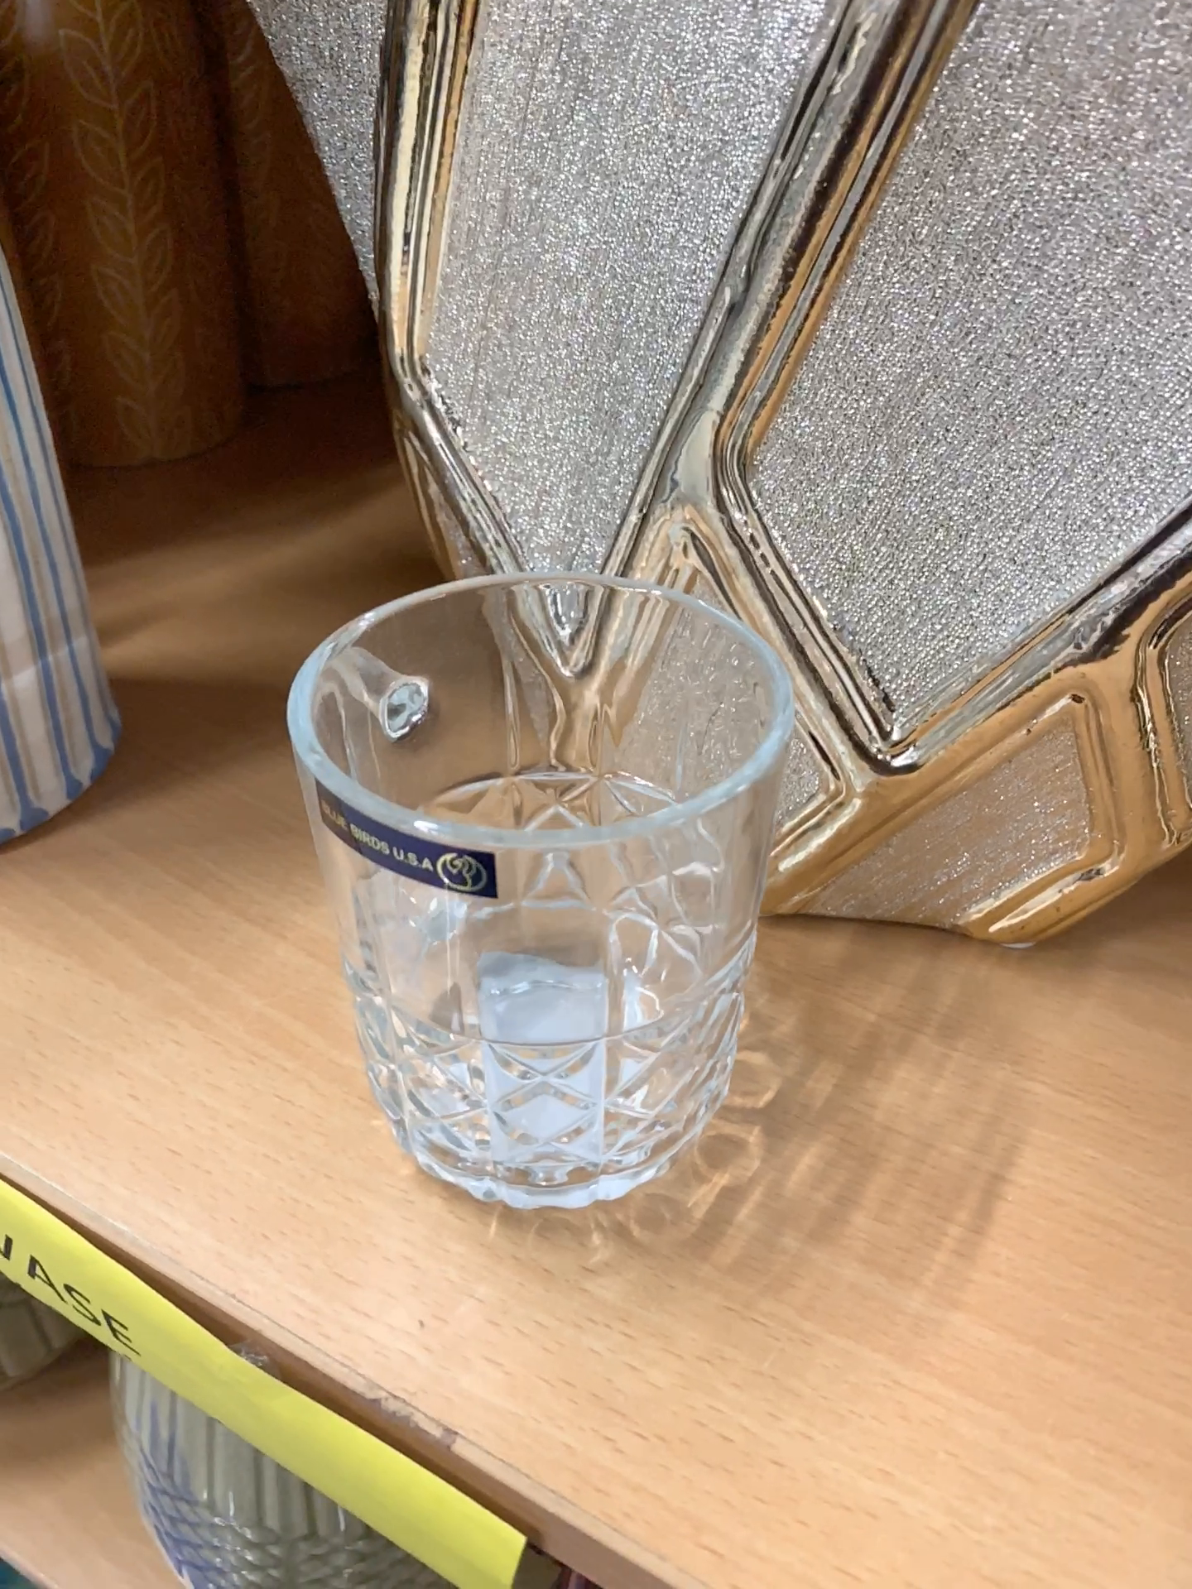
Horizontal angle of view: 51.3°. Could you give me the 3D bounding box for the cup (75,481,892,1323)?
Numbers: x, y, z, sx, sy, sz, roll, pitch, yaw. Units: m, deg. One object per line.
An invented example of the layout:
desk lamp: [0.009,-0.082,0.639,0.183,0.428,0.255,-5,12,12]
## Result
cup: [-0.017,0.012,0.212,0.100,0.090,0.070,22,41,25]
